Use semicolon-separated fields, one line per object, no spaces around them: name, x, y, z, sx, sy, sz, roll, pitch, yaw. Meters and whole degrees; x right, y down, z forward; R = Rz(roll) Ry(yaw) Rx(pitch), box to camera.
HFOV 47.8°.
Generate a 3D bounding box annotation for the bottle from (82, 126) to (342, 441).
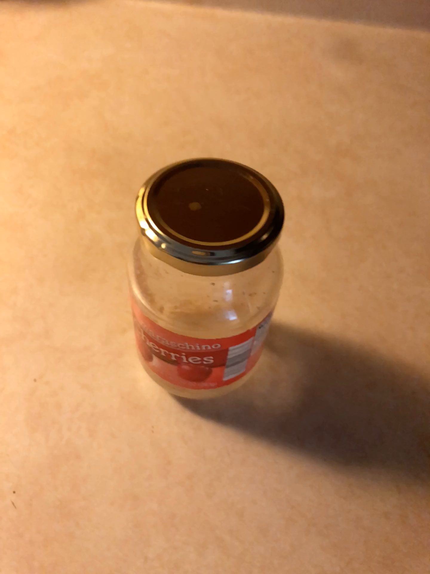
bottle;-0.002;0.003;0.222;0.070;0.110;0.070;2;52;-3
